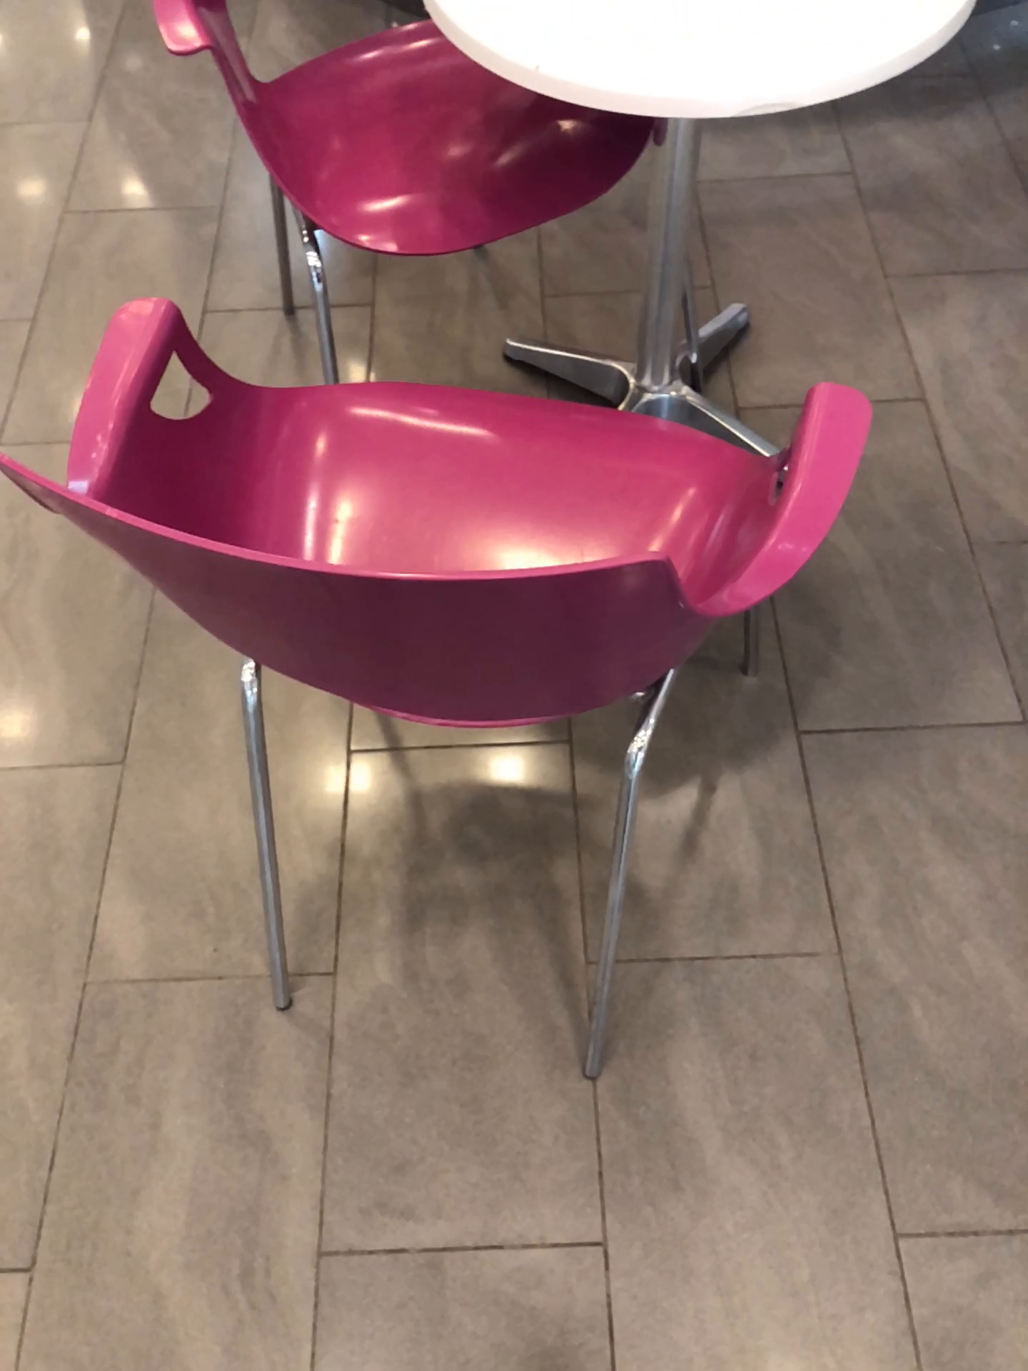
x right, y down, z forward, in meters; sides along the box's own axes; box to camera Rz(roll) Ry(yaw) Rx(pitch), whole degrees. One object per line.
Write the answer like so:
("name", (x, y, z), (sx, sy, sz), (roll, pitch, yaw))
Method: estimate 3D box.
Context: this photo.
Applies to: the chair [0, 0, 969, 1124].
("chair", (-0.040, -0.064, 1.028), (0.630, 0.758, 0.591), (11, 59, 9))
